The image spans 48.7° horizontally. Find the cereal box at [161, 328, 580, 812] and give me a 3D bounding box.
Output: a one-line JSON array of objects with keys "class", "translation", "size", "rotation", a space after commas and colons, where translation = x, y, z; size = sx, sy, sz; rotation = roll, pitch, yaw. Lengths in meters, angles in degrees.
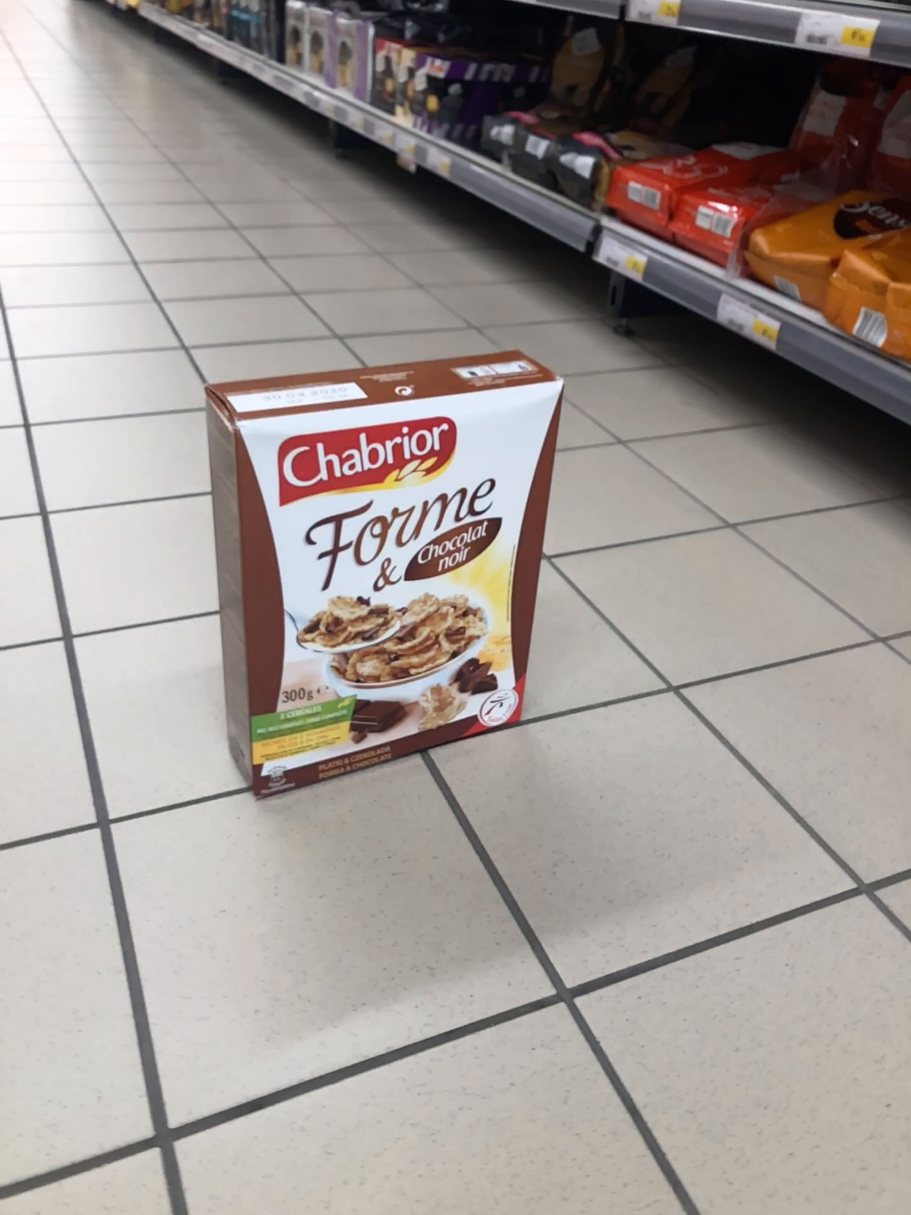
[{"class": "cereal box", "translation": [-0.049, -0.024, 0.597], "size": [0.211, 0.249, 0.070], "rotation": [-13, 36, -26]}]
